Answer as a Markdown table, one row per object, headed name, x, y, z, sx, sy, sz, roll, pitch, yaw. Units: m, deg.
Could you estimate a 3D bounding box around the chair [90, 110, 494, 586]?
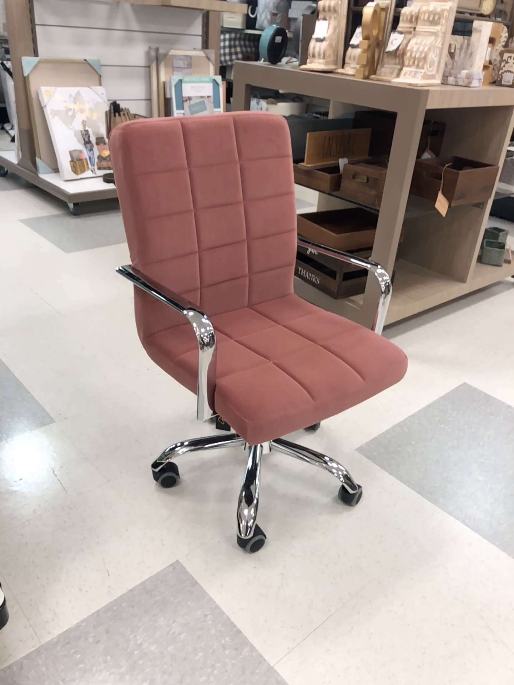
| name | x | y | z | sx | sy | sz | roll | pitch | yaw |
| --- | --- | --- | --- | --- | --- | --- | --- | --- | --- |
| chair | 0.034 | -0.054 | 1.308 | 0.576 | 0.819 | 0.563 | -18 | 36 | -36 |
